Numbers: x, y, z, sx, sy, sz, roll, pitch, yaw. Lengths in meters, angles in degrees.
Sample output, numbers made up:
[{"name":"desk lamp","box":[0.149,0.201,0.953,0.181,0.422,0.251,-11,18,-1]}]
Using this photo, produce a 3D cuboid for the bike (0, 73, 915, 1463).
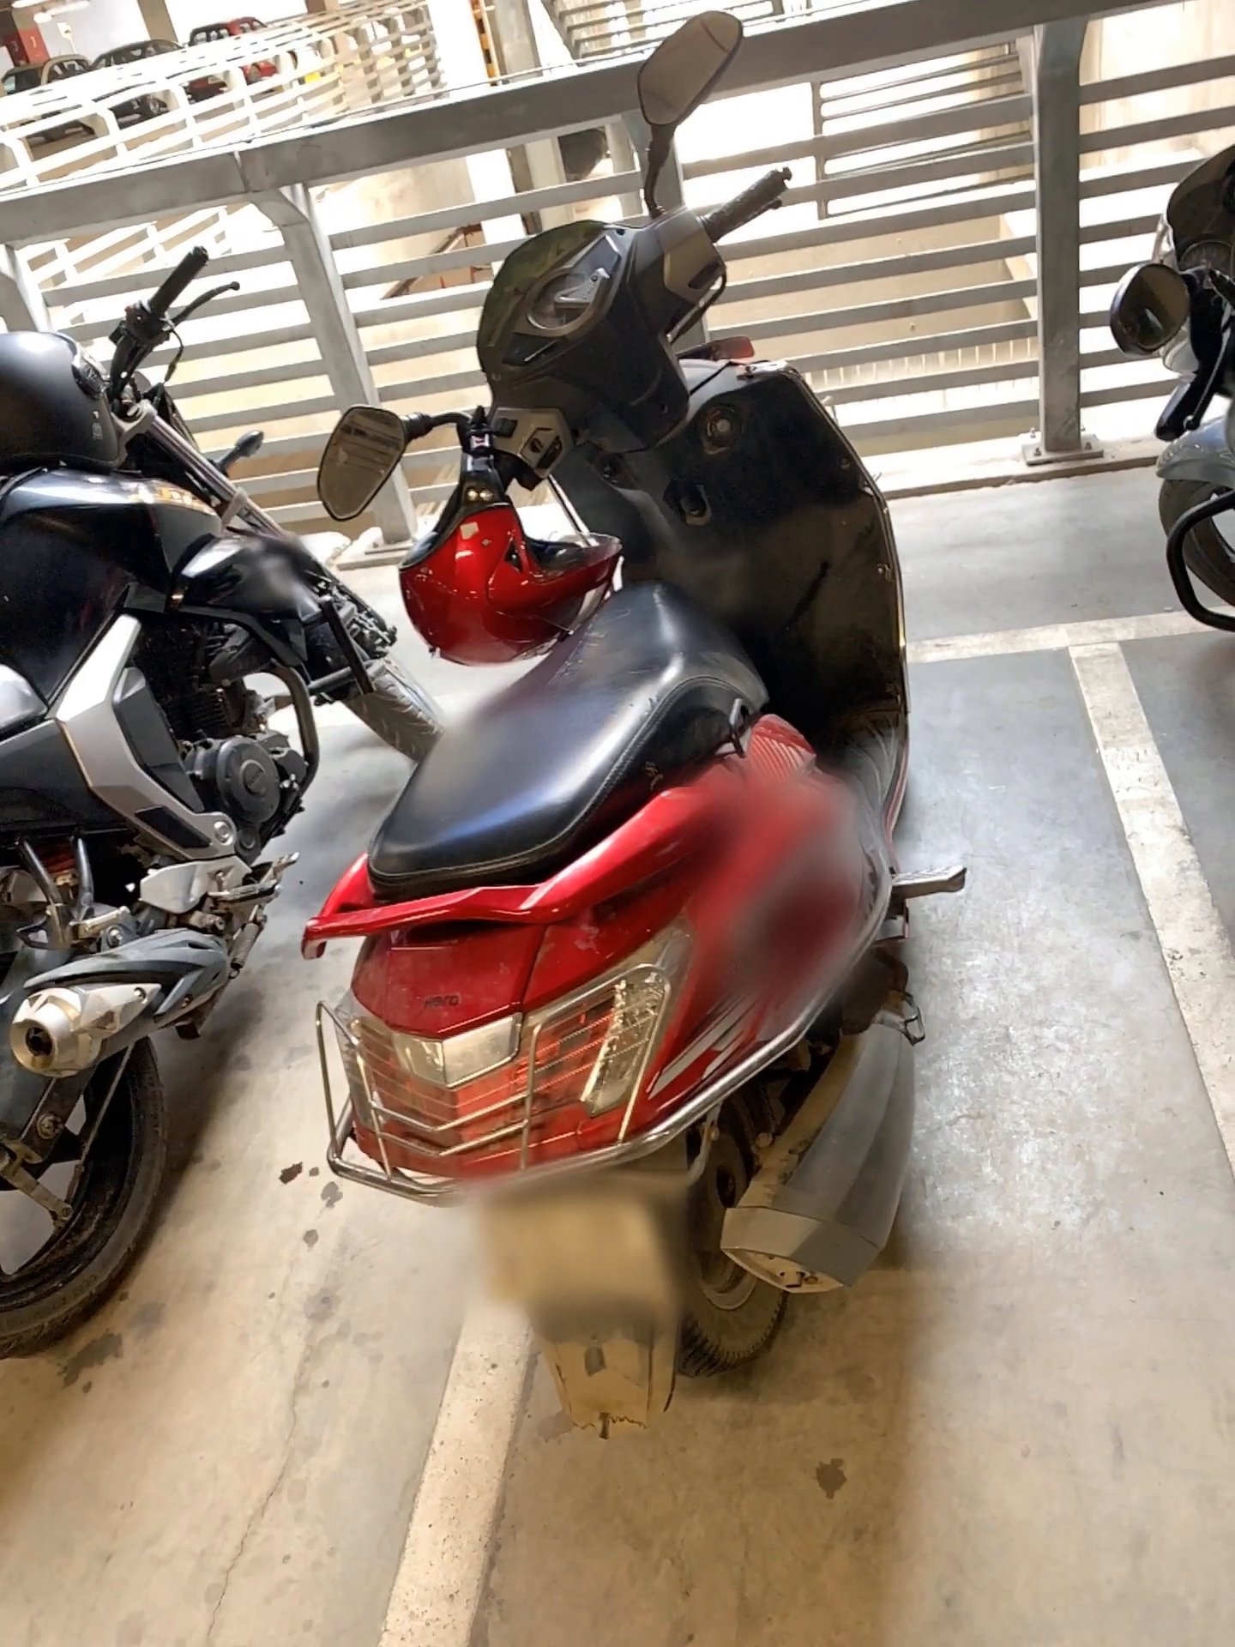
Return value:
[{"name":"bike","box":[-0.015,-0.275,1.933,0.725,1.165,1.857,-5,36,13]}]
